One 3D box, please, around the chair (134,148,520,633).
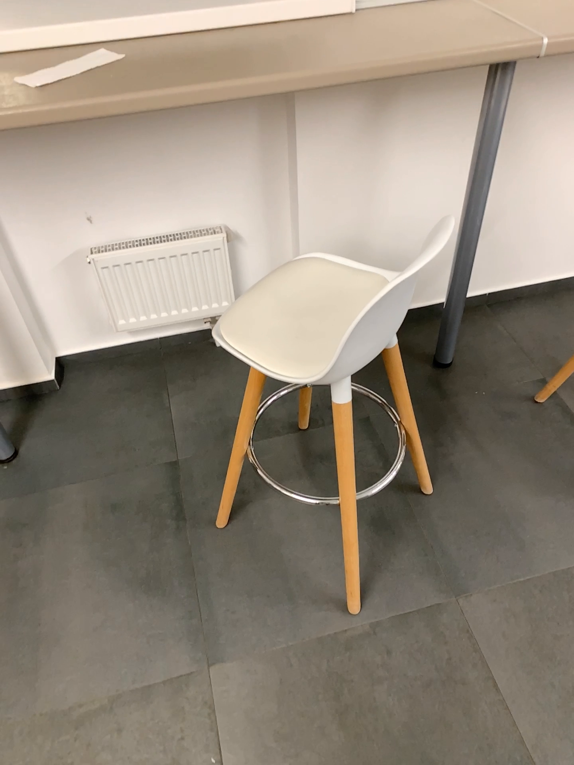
[{"bbox_3d":[0.098,0.051,1.319,0.481,0.886,0.482,25,52,25],"label":"chair"}]
